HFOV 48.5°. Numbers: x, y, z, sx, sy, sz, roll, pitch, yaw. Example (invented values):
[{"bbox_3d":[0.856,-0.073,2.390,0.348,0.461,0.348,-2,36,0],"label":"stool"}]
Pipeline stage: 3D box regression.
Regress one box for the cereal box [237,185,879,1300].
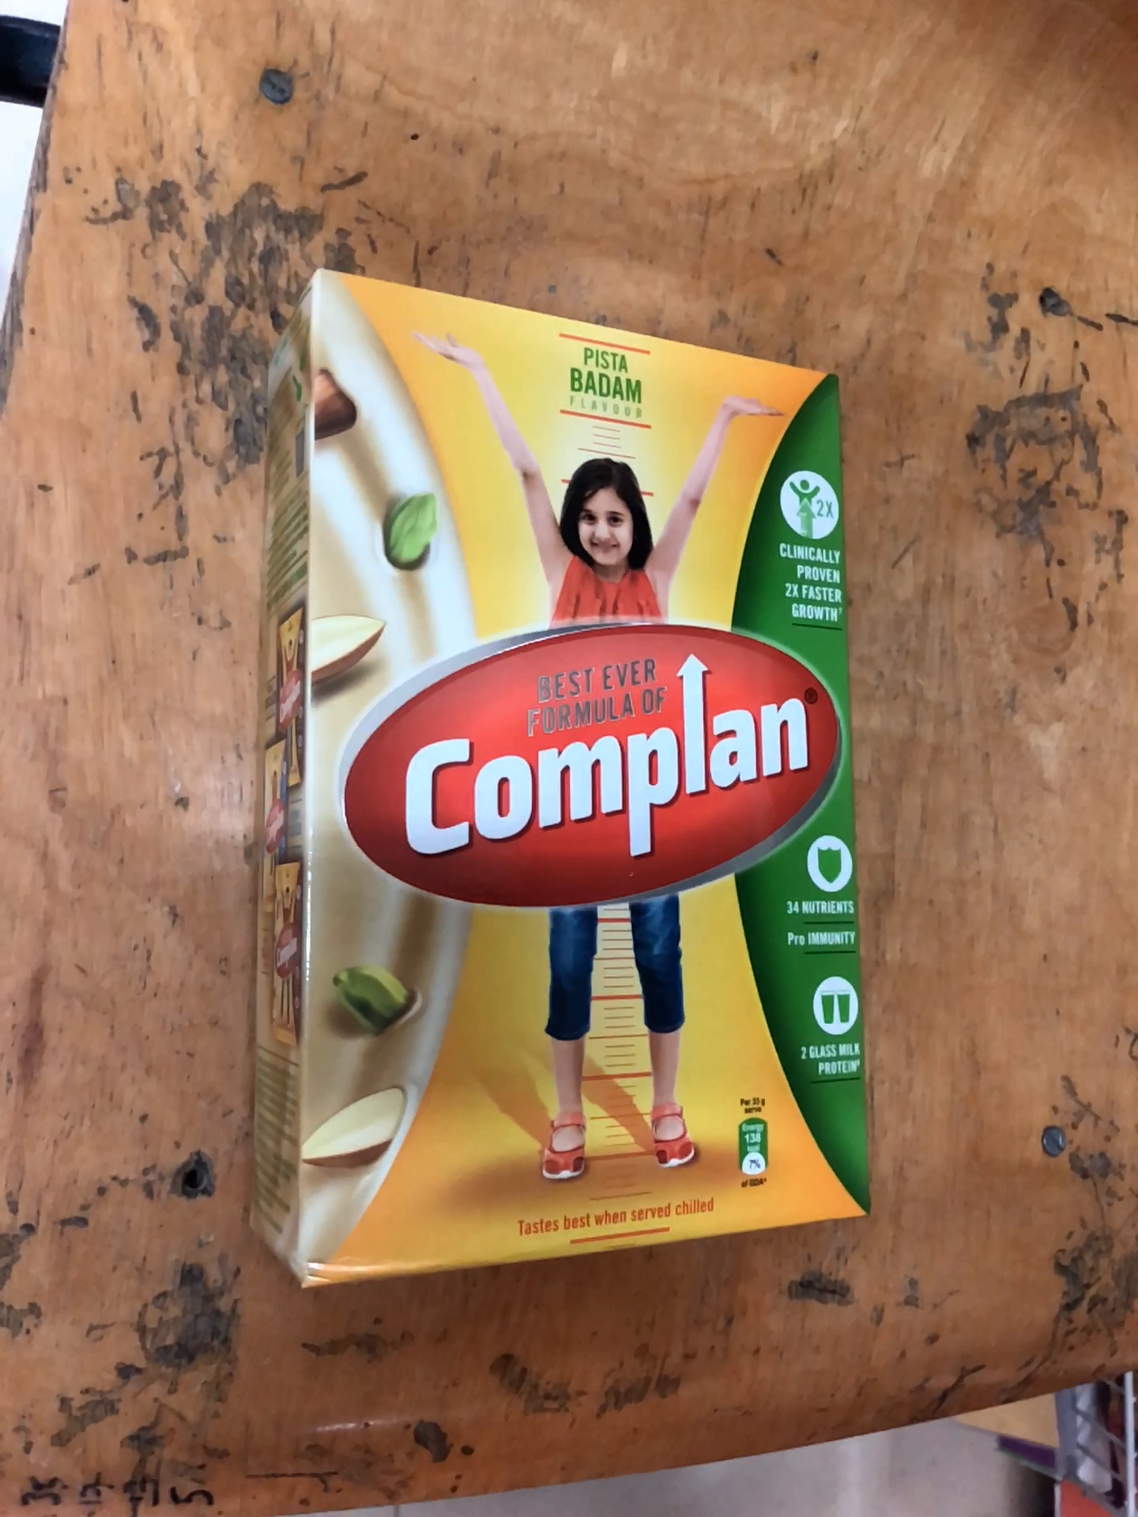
[{"bbox_3d":[-0.002,-0.004,0.302,0.140,0.050,0.220,2,83,-28],"label":"cereal box"}]
